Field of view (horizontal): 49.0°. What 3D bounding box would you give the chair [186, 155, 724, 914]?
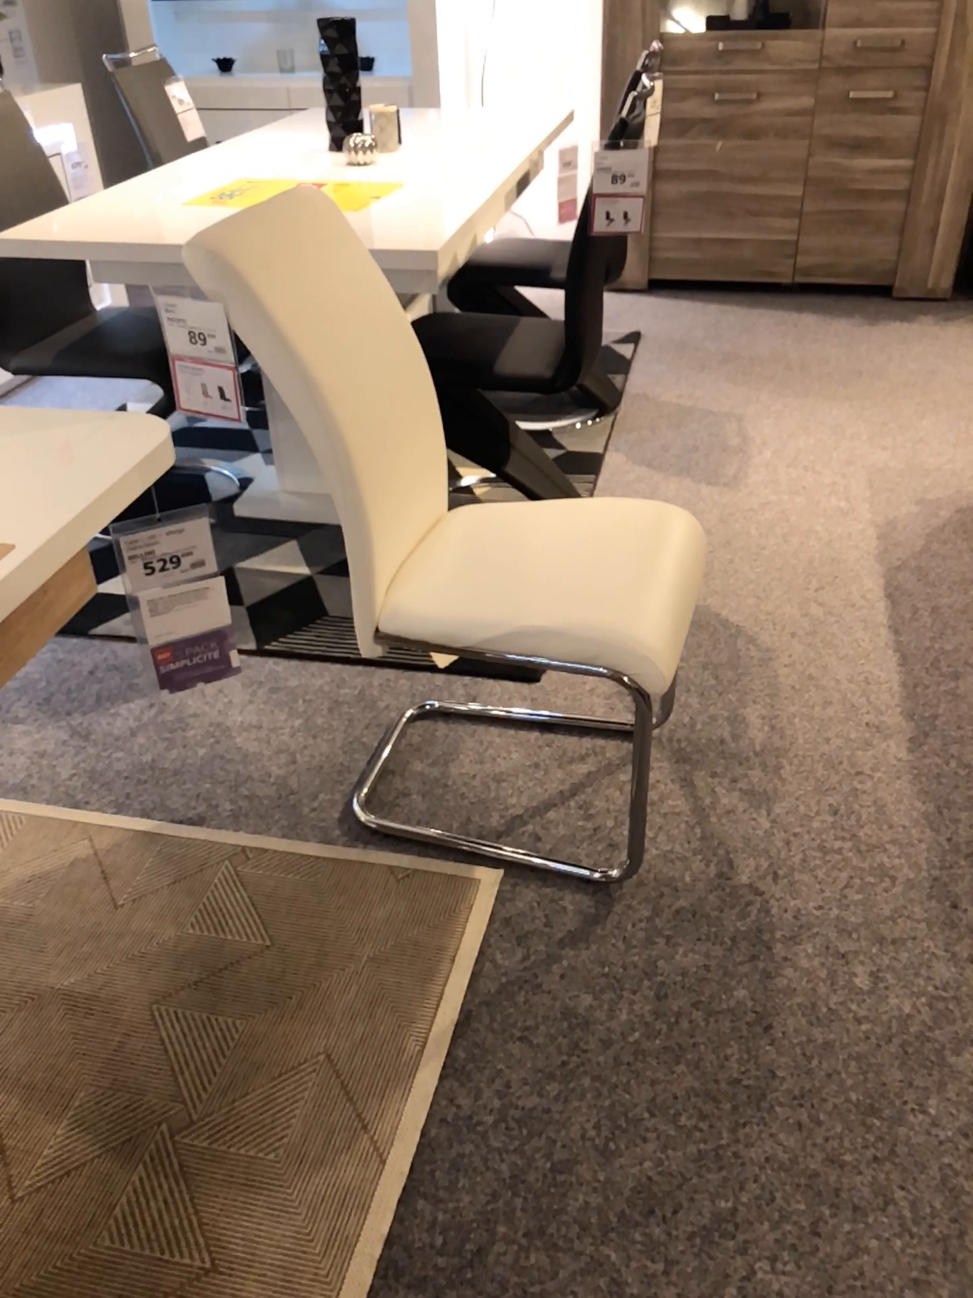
[{"bbox_3d":[0.014,-0.168,1.543,0.550,0.924,0.503,5,33,11],"label":"chair"}]
